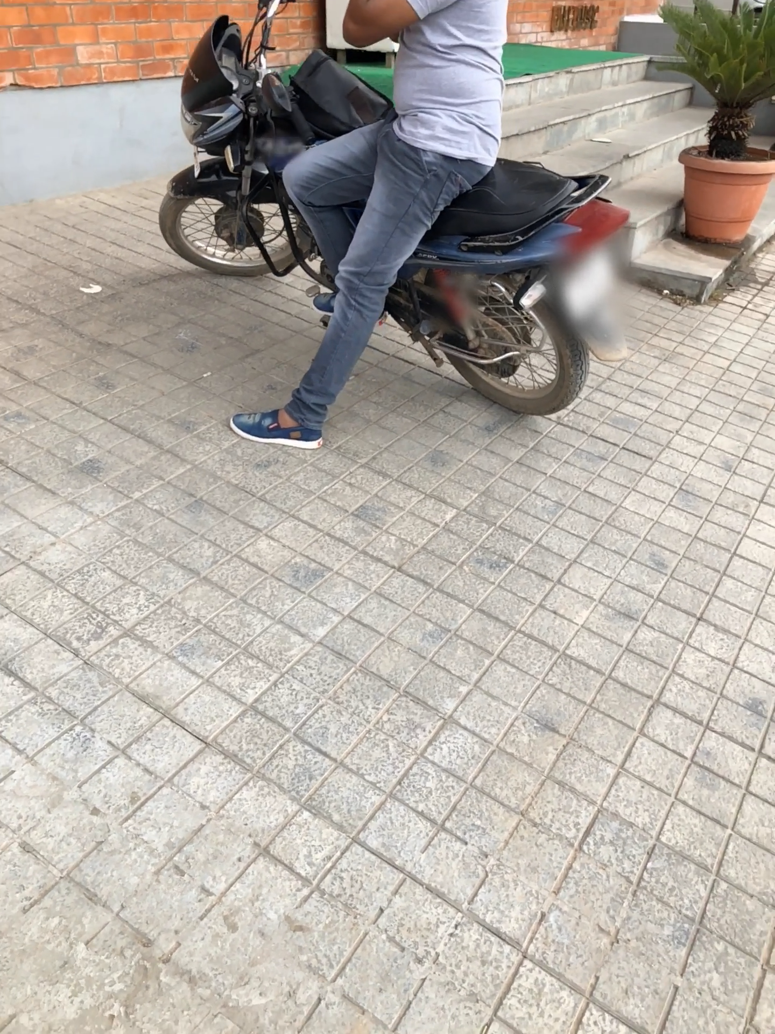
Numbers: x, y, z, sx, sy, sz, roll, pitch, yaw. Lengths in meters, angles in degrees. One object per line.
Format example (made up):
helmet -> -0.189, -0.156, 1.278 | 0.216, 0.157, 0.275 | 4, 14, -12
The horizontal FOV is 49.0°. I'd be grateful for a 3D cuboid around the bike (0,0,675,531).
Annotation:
bike -> -0.303, -1.053, 2.617 | 1.821, 1.344, 0.817 | 24, 39, 25
